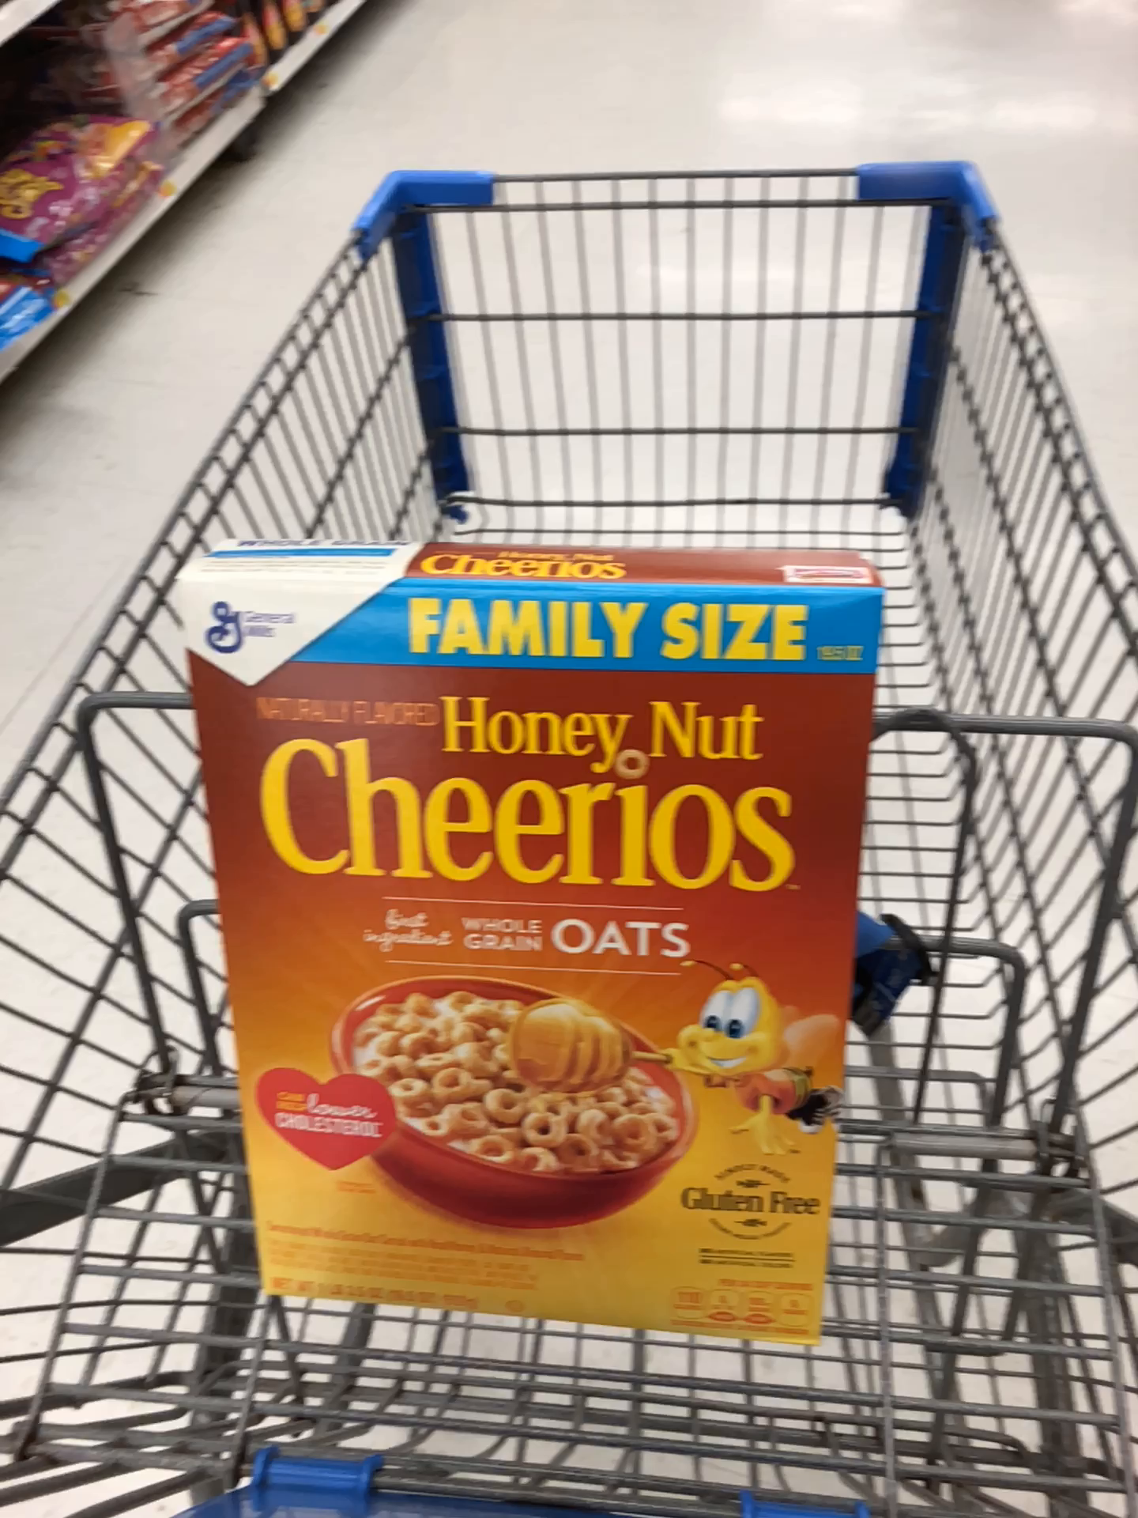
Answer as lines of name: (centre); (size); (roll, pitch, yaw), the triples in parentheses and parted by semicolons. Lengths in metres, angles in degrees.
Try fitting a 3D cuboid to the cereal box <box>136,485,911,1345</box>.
cereal box: (-0.013, 0.066, 0.493); (0.250, 0.330, 0.070); (2, 22, 7)
